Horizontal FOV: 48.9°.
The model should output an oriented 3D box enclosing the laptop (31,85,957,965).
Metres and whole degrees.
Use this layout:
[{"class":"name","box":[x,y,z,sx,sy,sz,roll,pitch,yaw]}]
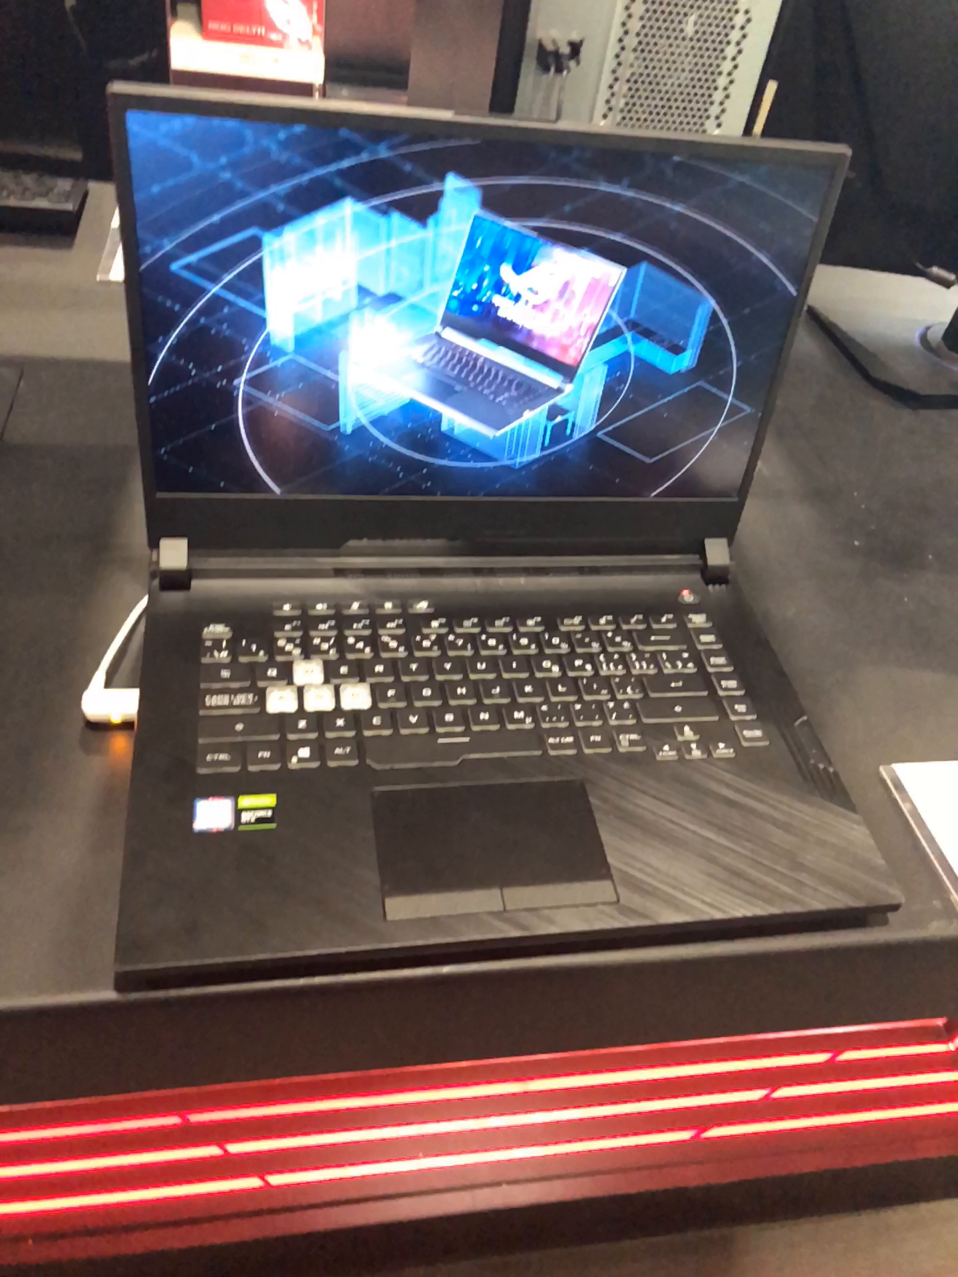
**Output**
[{"class":"laptop","box":[0.021,-0.057,0.472,0.350,0.243,0.281,-1,43,-12]}]
